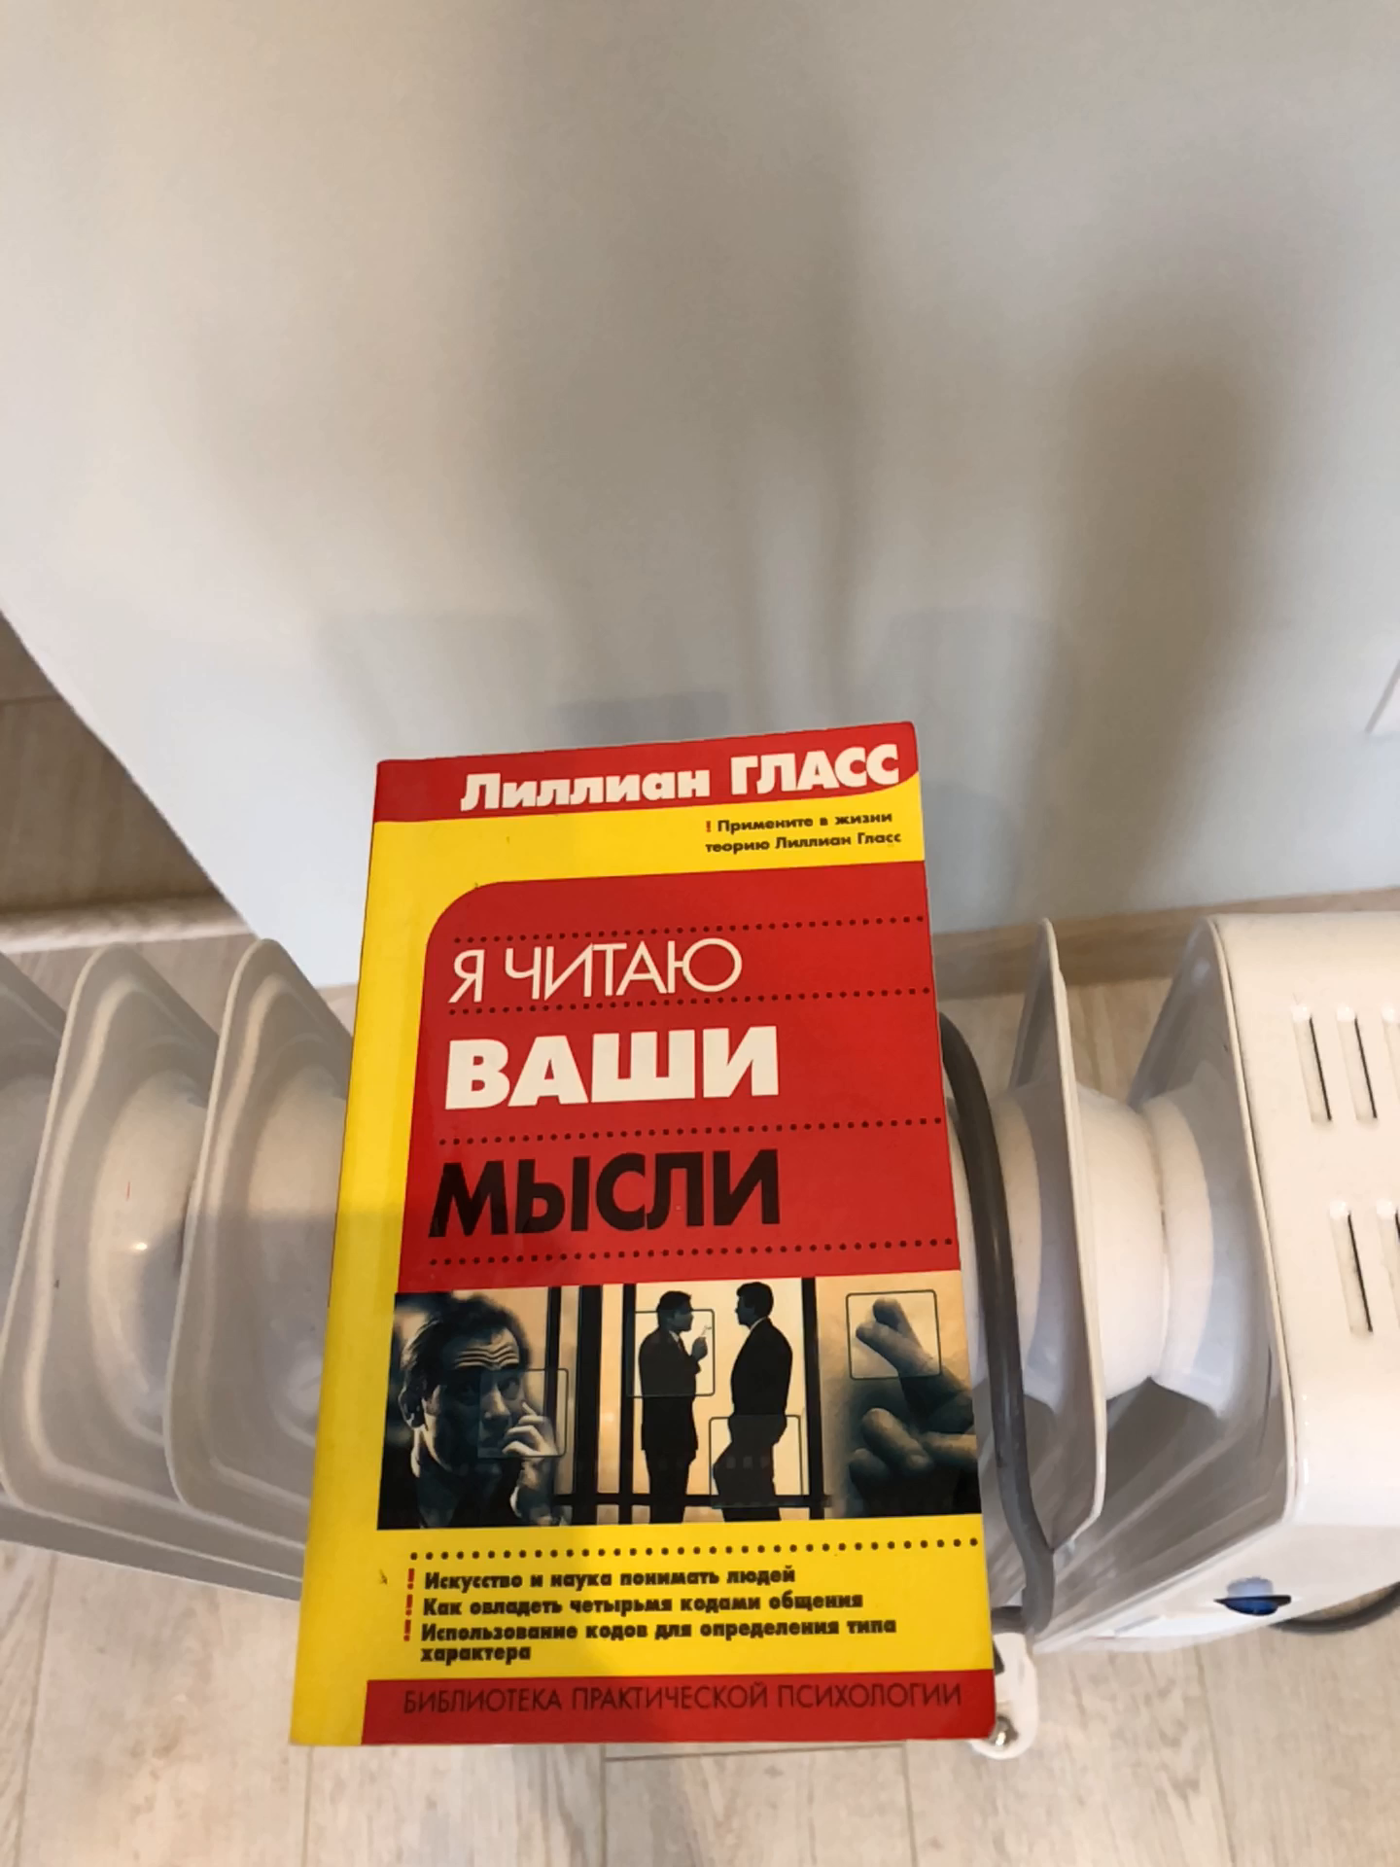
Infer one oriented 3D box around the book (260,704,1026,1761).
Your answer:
[{"bbox_3d":[-0.011,0.049,0.313,0.128,0.020,0.207,-4,62,6],"label":"book"}]
